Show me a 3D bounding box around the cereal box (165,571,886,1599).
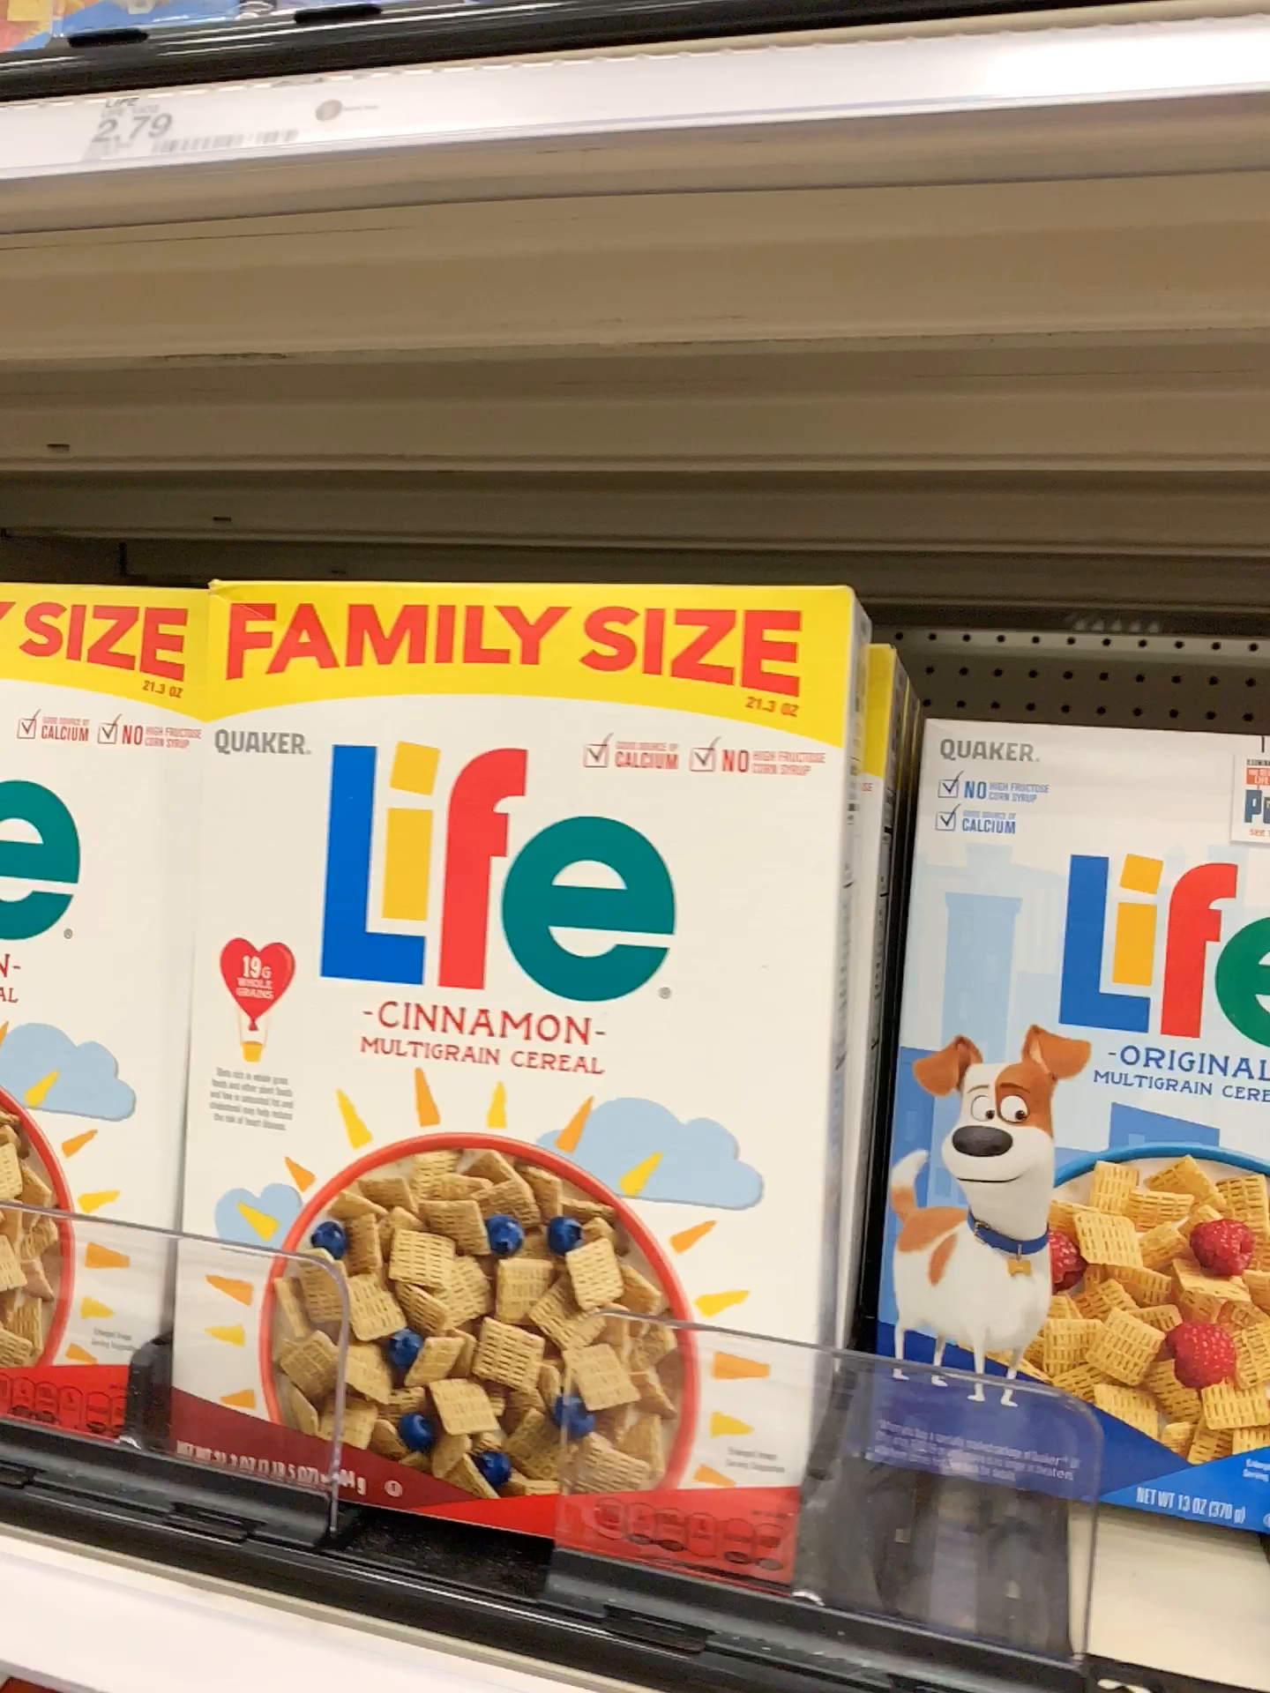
[{"bbox_3d":[-0.032,0.055,0.392,0.190,0.260,0.070,3,0,17],"label":"cereal box"}]
